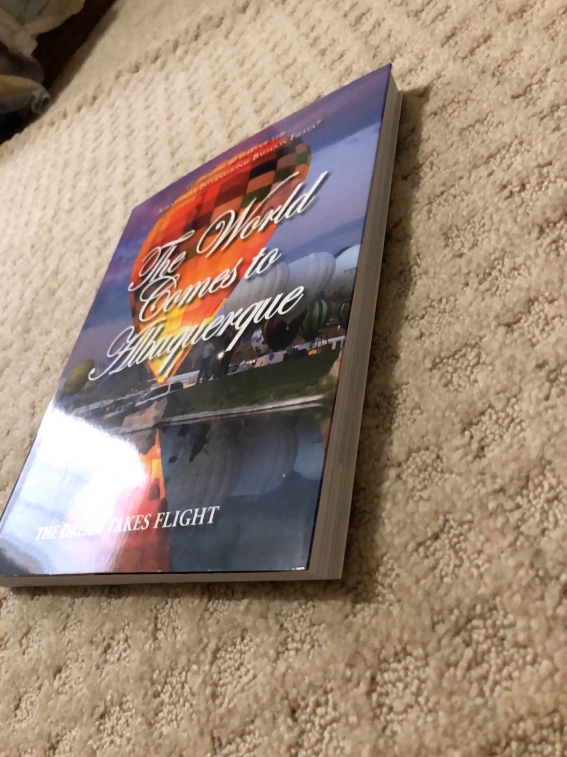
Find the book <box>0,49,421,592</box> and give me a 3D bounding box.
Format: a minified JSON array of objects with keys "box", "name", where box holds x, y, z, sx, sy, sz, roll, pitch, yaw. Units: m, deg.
[{"box":[-0.038,-0.029,0.313,0.204,0.023,0.258,-15,49,37],"name":"book"}]
